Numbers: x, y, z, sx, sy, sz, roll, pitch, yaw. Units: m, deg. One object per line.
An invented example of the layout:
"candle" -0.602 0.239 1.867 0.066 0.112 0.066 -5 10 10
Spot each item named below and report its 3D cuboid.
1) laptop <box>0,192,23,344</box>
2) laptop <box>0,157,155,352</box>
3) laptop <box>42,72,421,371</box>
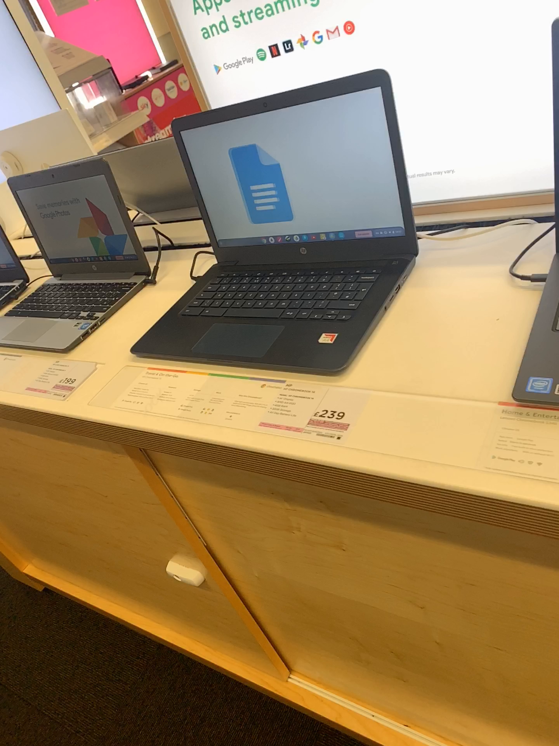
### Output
"laptop" -0.720 -0.200 1.132 0.335 0.189 0.192 5 45 37
"laptop" -0.411 -0.195 0.942 0.271 0.186 0.243 5 44 34
"laptop" -0.048 -0.174 0.698 0.332 0.209 0.246 5 44 36
